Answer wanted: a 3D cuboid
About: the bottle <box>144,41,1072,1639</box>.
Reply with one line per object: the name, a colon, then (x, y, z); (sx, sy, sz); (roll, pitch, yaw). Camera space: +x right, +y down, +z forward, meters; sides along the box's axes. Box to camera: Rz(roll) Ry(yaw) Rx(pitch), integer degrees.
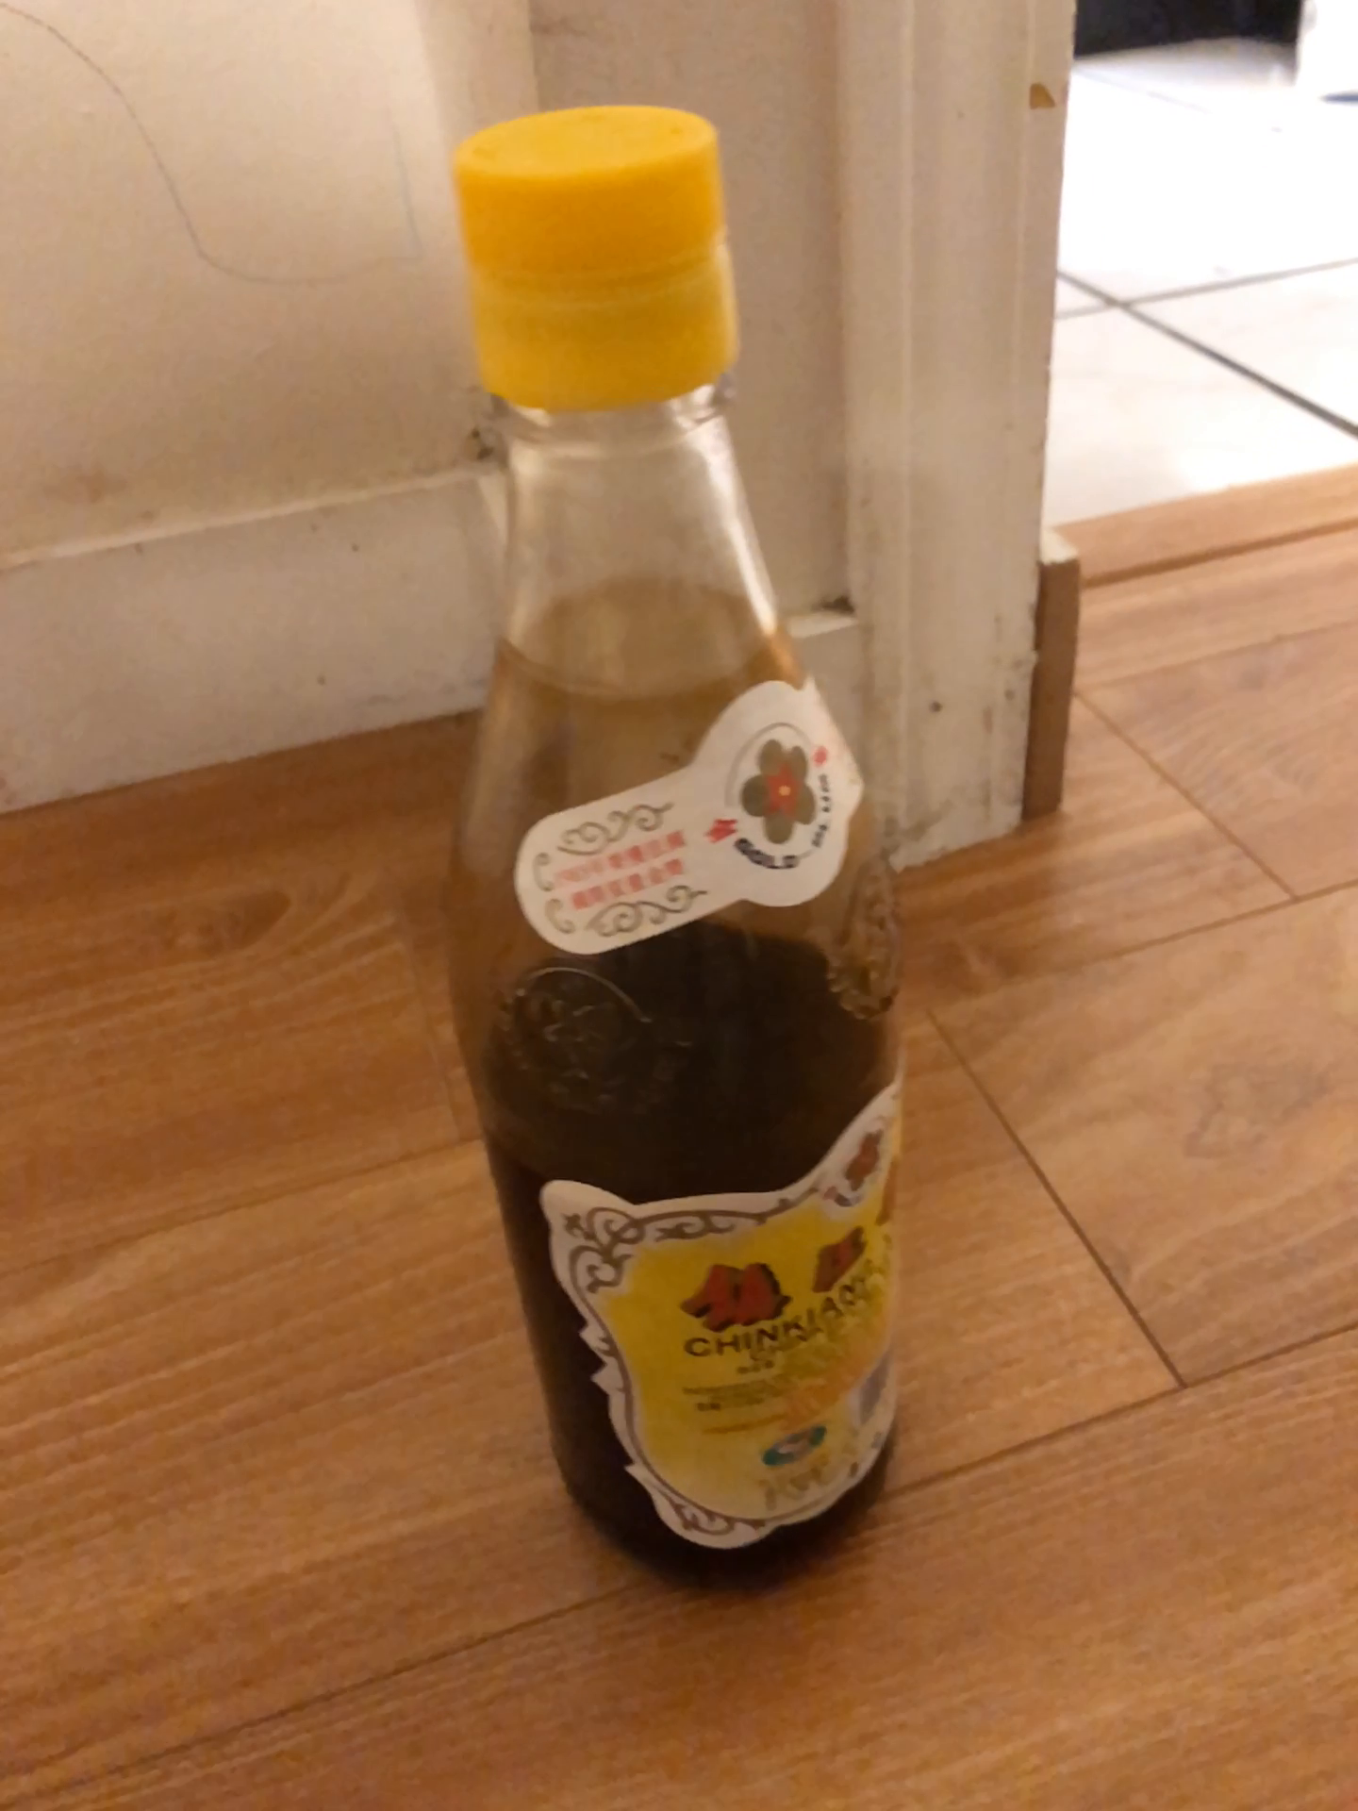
bottle: (0.002, 0.006, 0.230); (0.070, 0.228, 0.070); (-4, 38, 3)
